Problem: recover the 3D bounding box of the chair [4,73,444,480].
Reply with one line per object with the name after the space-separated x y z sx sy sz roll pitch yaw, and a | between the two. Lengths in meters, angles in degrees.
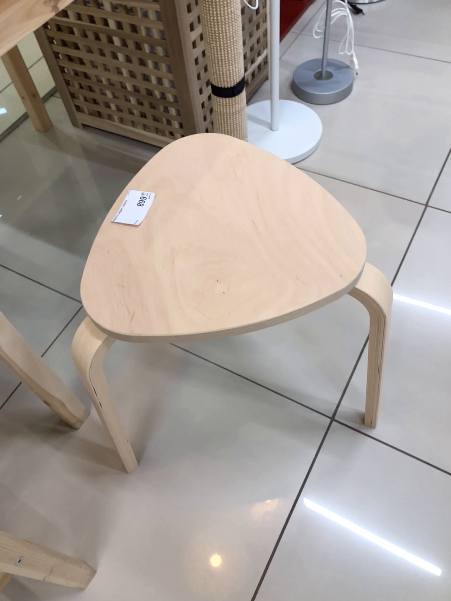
-0.012 -0.013 0.857 0.490 0.468 0.432 -10 56 -1 | chair
